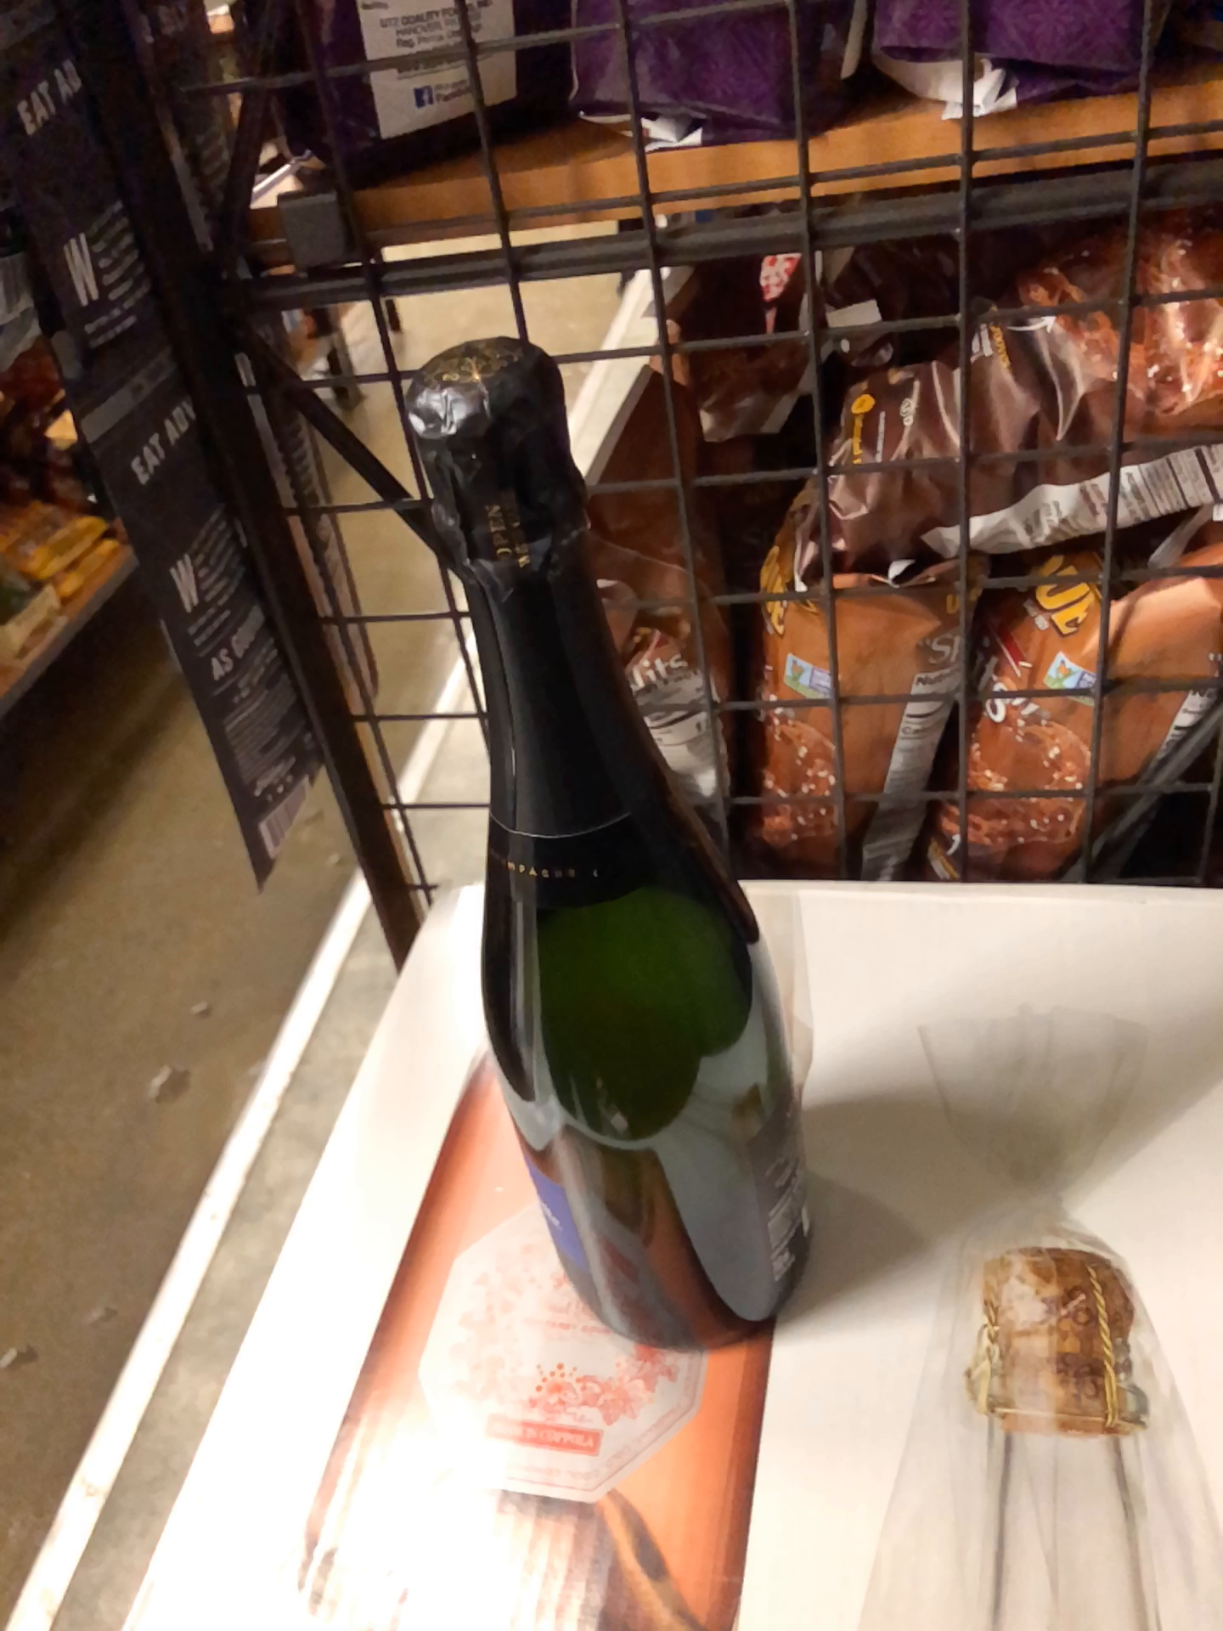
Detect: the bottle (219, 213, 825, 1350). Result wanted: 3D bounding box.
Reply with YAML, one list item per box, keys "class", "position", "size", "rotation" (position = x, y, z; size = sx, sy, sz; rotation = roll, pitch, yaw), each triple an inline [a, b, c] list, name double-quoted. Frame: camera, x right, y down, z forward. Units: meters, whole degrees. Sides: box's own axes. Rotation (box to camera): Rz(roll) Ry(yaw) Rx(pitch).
- class: "bottle"
  position: [0.001, 0.016, 0.363]
  size: [0.090, 0.299, 0.100]
  rotation: [-5, 38, 8]
